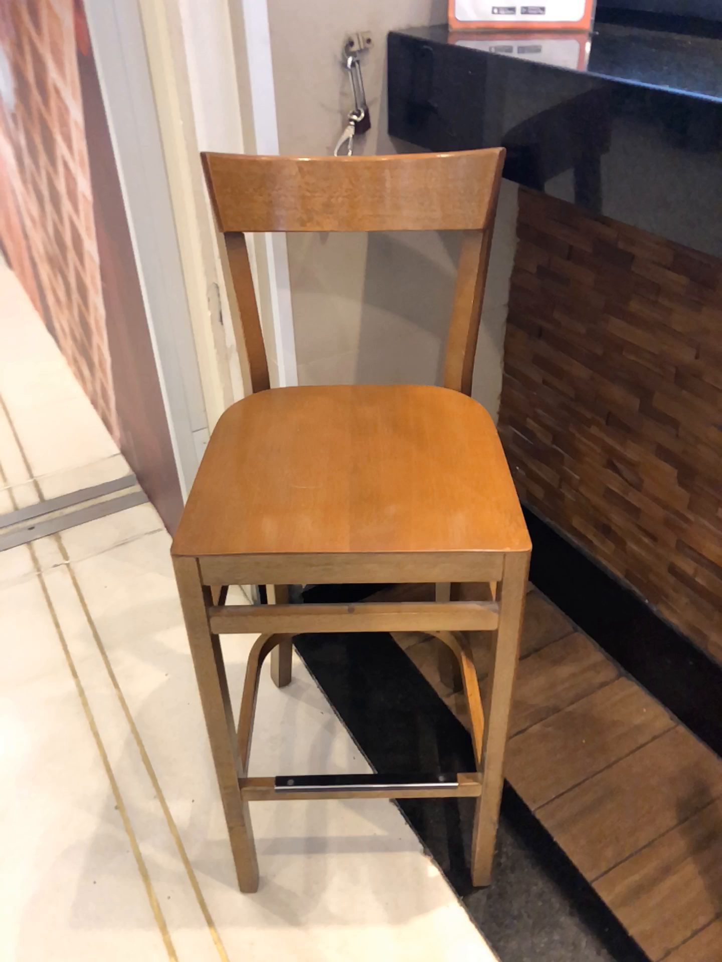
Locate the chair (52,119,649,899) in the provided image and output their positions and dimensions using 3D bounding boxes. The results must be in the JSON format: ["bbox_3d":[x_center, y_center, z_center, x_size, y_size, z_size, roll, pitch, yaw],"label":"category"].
[{"bbox_3d":[-0.007,0.078,1.142,0.480,0.993,0.534,-2,36,-1],"label":"chair"}]
